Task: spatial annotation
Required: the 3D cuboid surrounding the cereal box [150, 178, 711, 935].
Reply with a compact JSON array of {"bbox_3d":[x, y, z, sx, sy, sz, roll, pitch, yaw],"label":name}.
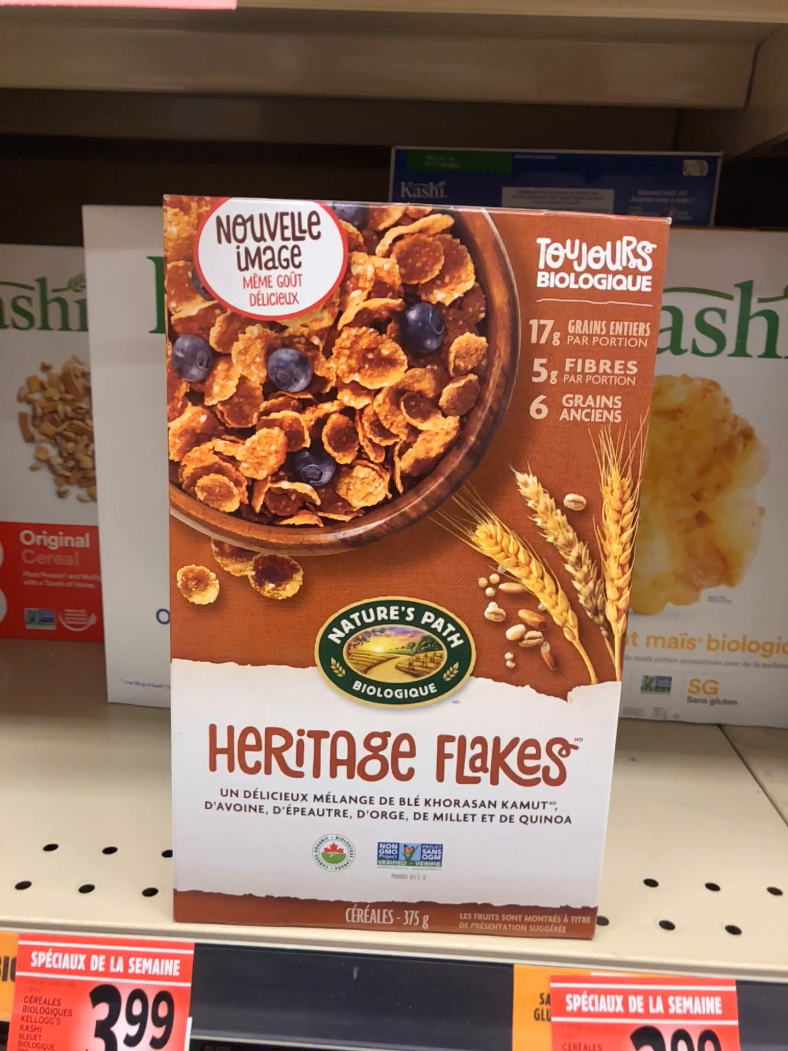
[{"bbox_3d":[0.007,0.014,0.329,0.170,0.259,0.070,2,14,1],"label":"cereal box"}]
